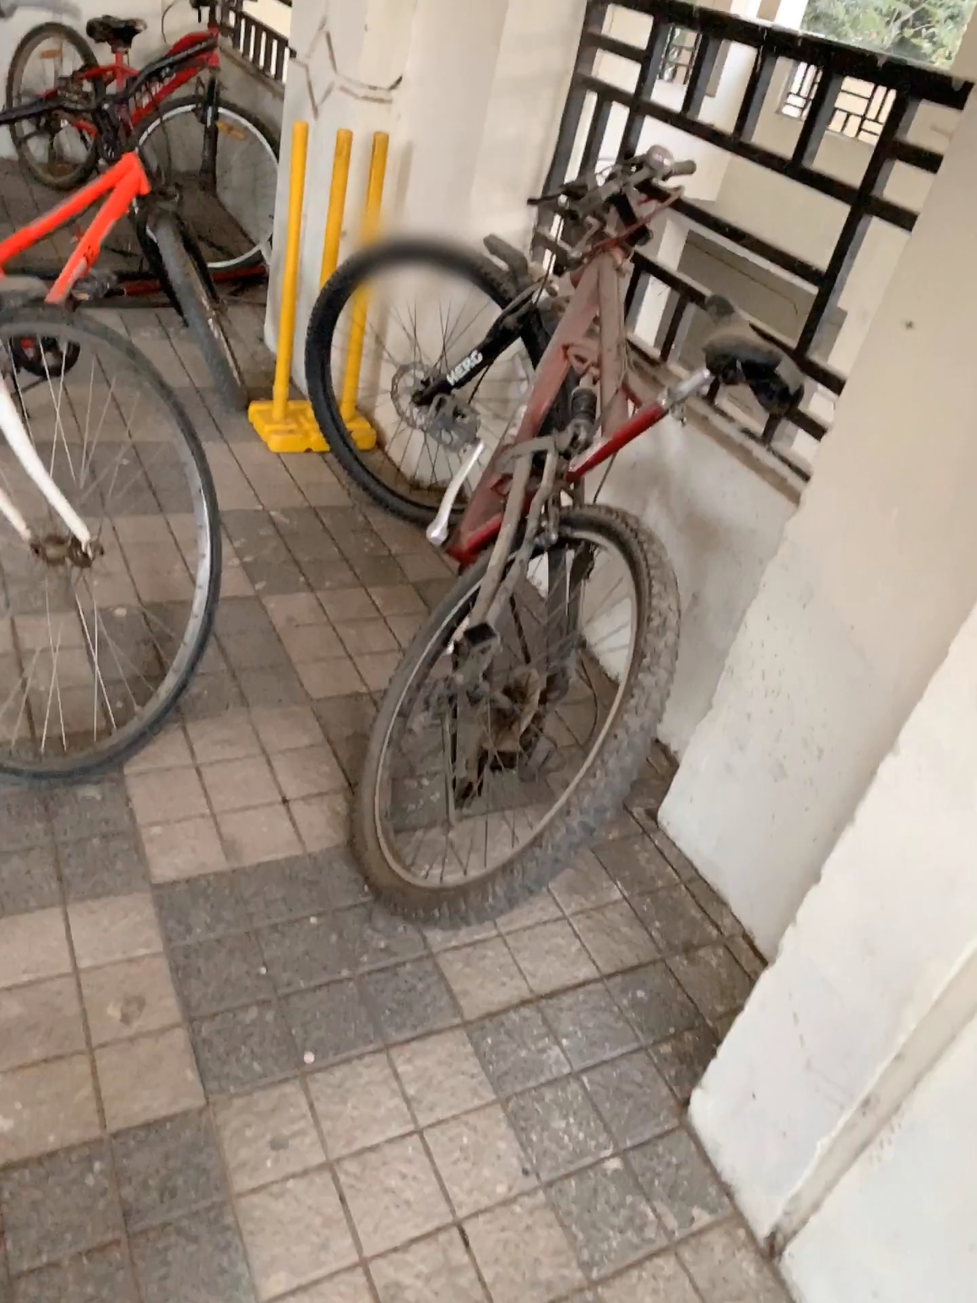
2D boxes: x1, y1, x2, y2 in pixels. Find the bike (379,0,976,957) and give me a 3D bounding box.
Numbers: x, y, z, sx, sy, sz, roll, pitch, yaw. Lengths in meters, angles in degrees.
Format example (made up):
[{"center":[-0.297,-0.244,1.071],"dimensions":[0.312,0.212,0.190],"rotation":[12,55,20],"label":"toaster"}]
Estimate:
[{"center":[0.278,-0.454,1.707],"dimensions":[0.608,0.831,1.470],"rotation":[1,44,-19],"label":"bike"}]
